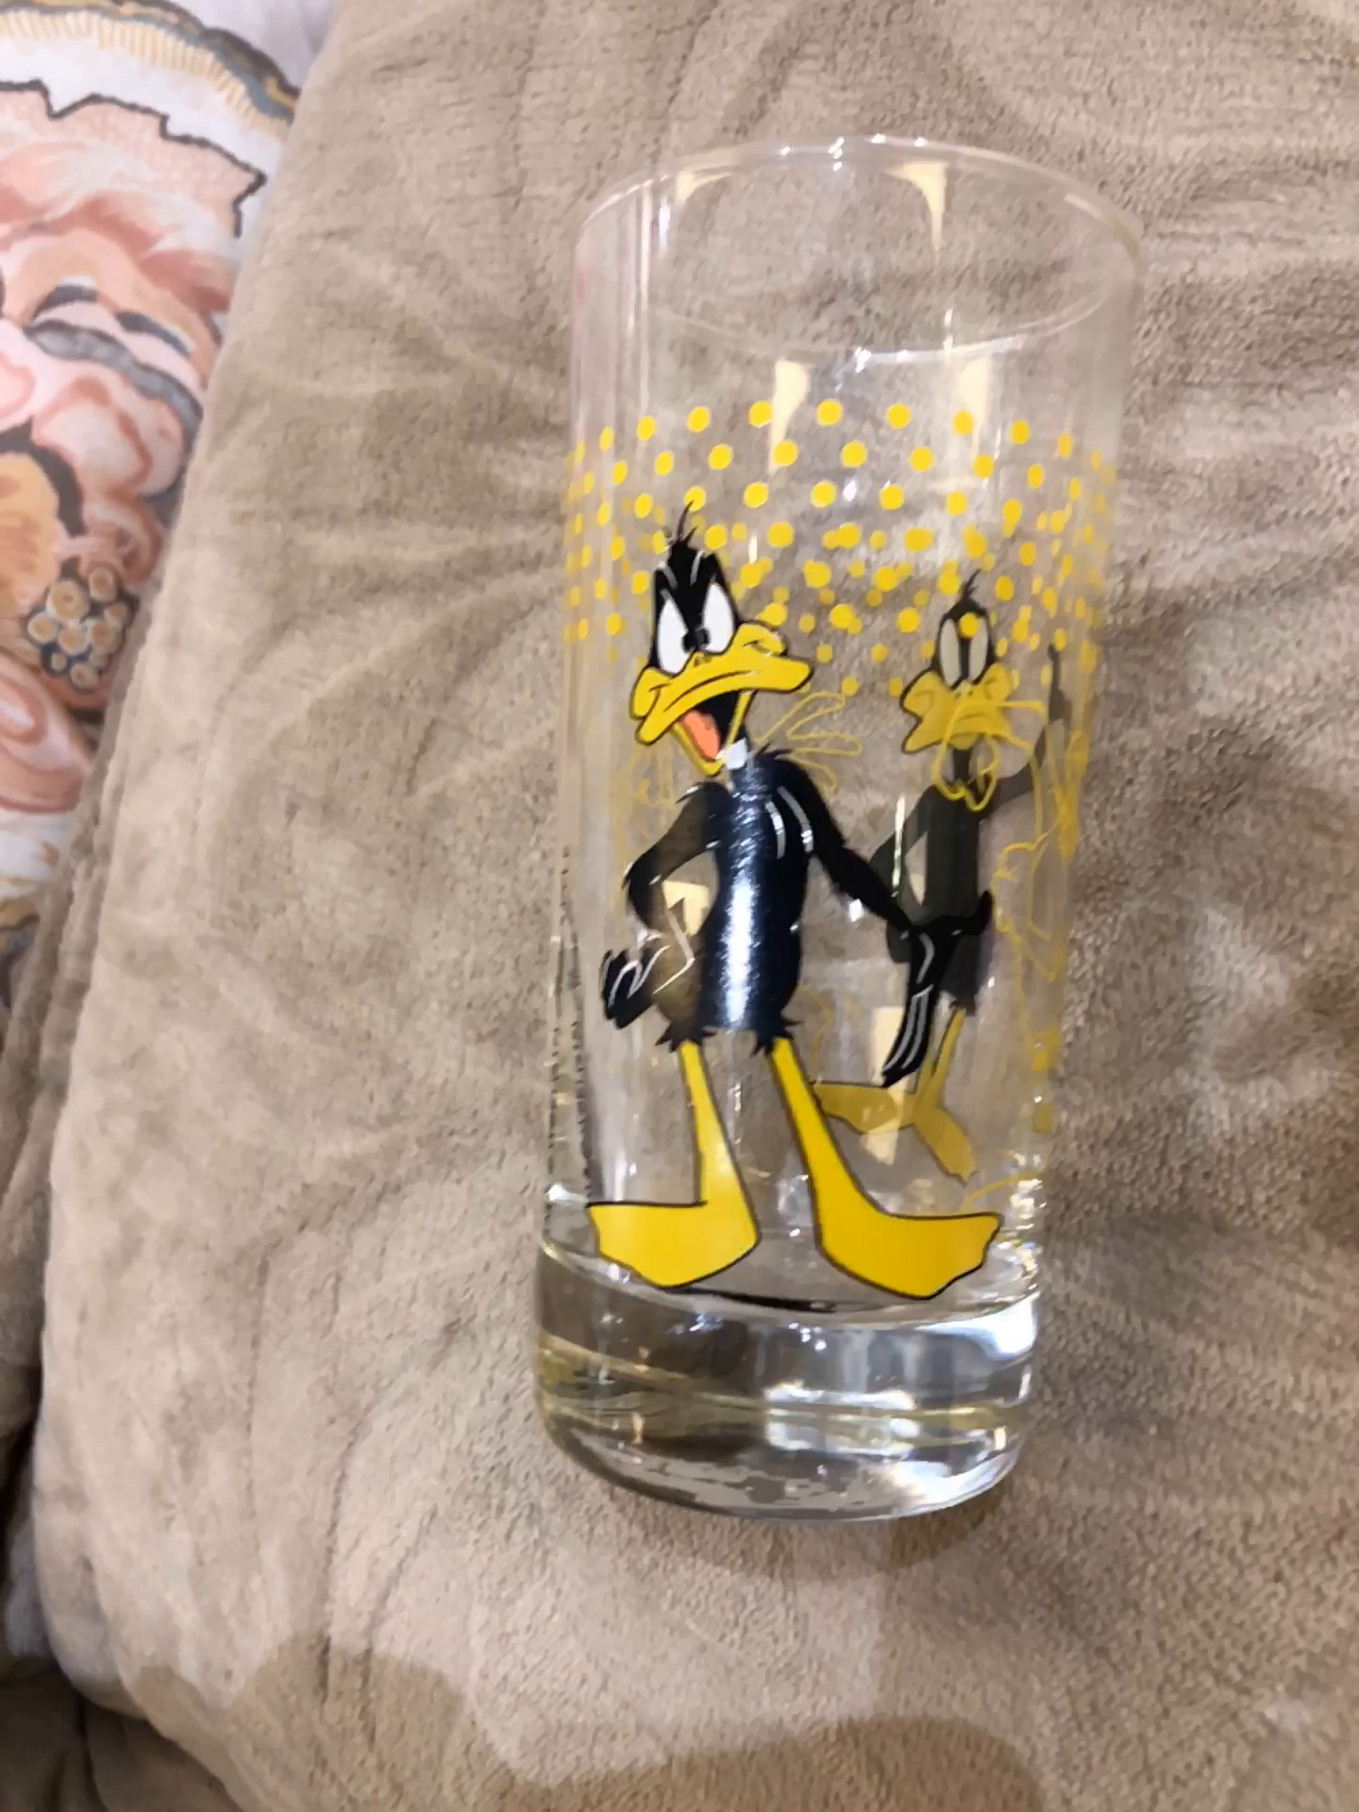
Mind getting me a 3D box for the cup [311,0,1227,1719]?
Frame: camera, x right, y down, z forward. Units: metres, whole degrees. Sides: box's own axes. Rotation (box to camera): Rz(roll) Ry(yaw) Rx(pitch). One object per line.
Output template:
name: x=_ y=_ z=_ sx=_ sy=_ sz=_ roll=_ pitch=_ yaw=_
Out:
cup: x=0.017 y=-0.012 z=0.176 sx=0.070 sy=0.070 sz=0.160 roll=3 pitch=85 yaw=26
